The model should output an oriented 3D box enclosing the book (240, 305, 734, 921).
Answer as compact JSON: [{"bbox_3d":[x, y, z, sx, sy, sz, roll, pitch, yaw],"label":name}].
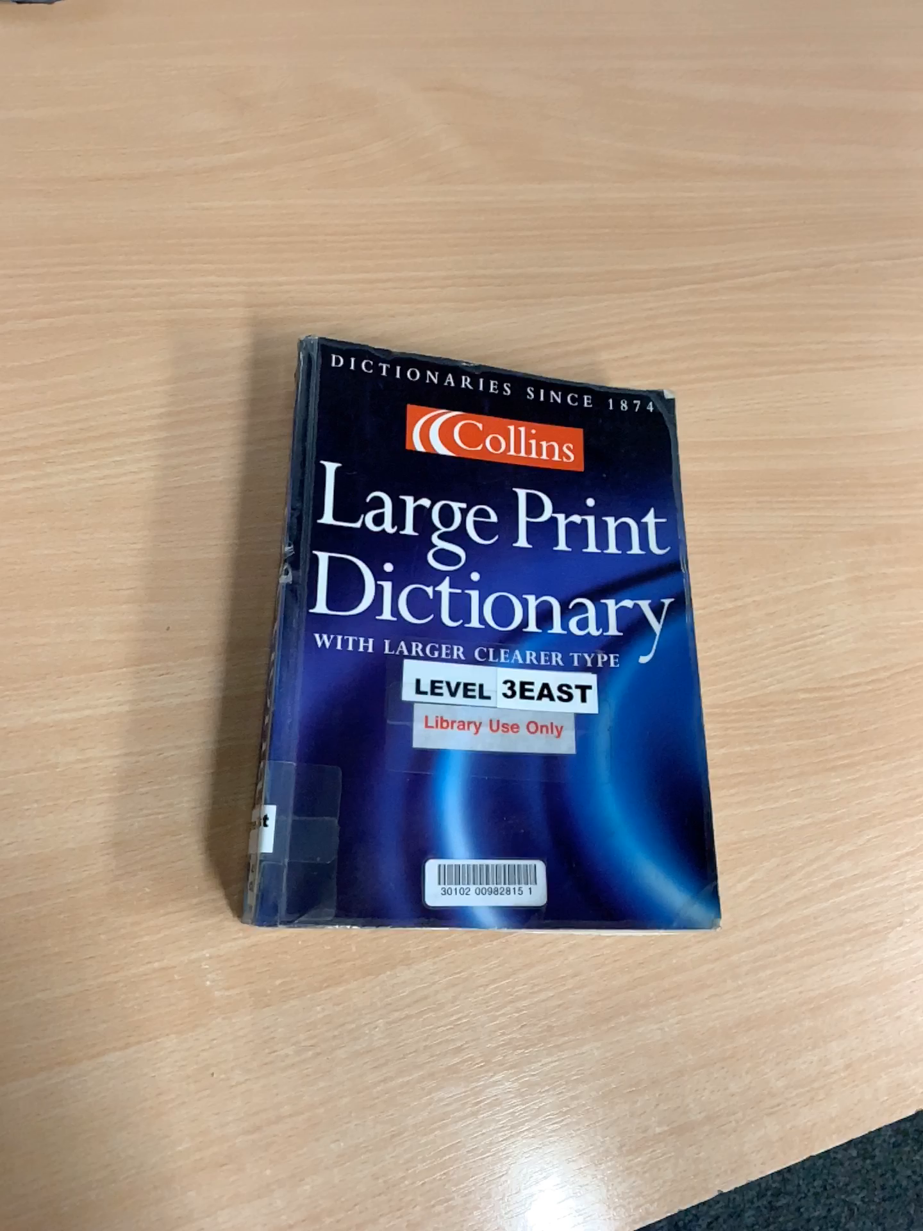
[{"bbox_3d":[0.012,0.001,0.406,0.188,0.050,0.243,5,73,-14],"label":"book"}]
